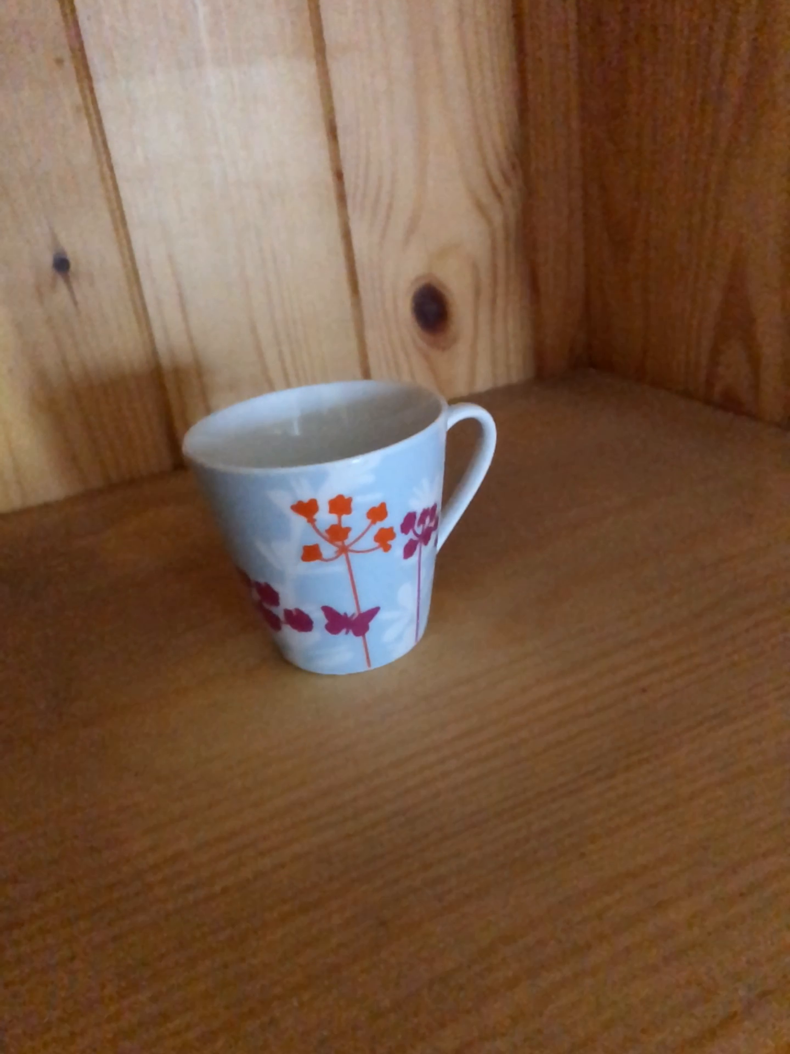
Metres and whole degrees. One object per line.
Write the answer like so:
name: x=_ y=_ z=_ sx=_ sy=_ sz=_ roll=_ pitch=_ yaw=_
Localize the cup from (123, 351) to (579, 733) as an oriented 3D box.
cup: x=-0.011 y=-0.004 z=0.213 sx=0.080 sy=0.050 sz=0.070 roll=-20 pitch=27 yaw=-26
